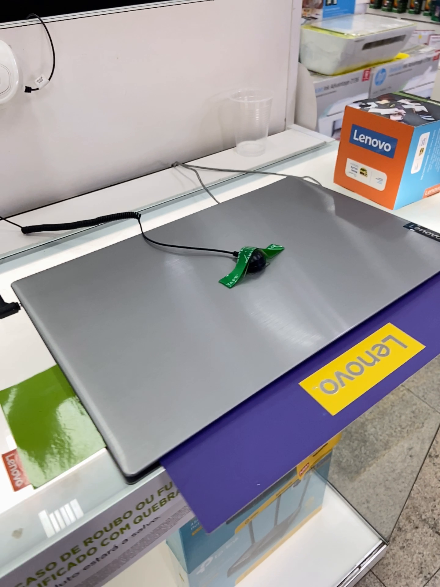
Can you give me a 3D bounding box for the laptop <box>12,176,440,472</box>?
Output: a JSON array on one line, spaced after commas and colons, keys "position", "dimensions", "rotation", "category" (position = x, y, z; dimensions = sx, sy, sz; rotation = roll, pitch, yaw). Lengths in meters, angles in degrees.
[{"position": [0.020, -0.022, 0.433], "dimensions": [0.363, 0.001, 0.240], "rotation": [-27, 45, -26], "category": "laptop"}]
